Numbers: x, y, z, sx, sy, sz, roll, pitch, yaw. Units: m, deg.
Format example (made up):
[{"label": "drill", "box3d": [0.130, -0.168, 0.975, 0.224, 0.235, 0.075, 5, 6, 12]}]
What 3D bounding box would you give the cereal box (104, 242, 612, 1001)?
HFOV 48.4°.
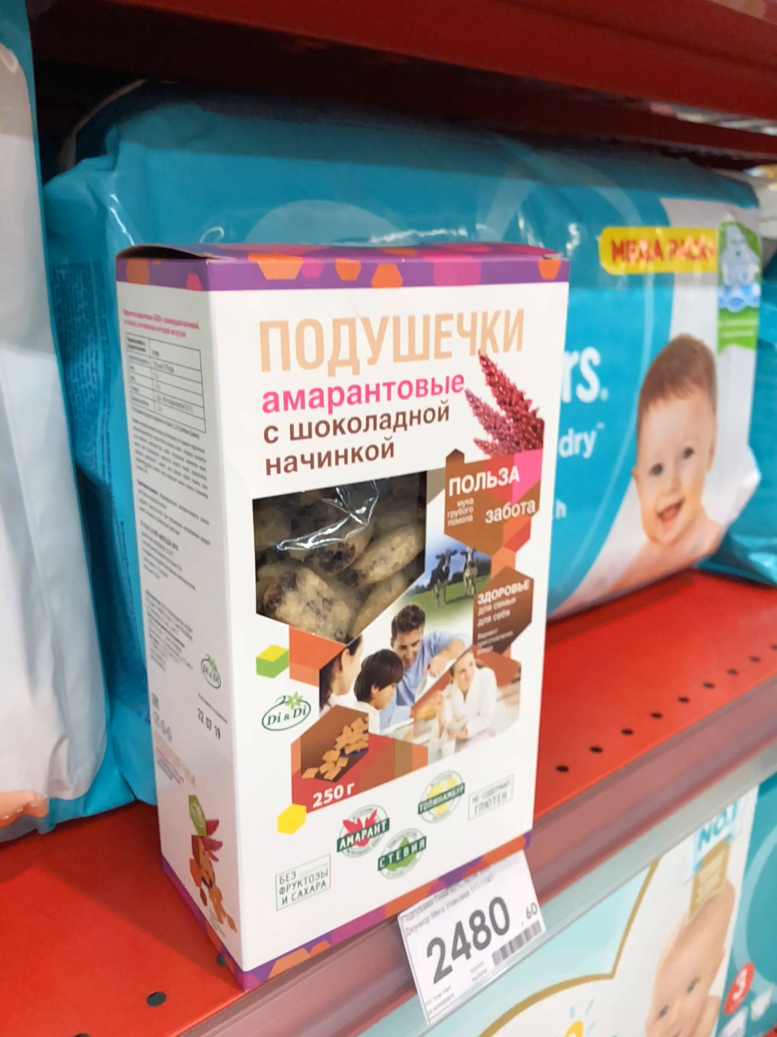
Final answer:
[{"label": "cereal box", "box3d": [-0.008, 0.021, 0.297, 0.140, 0.219, 0.070, -11, 21, -33]}]
